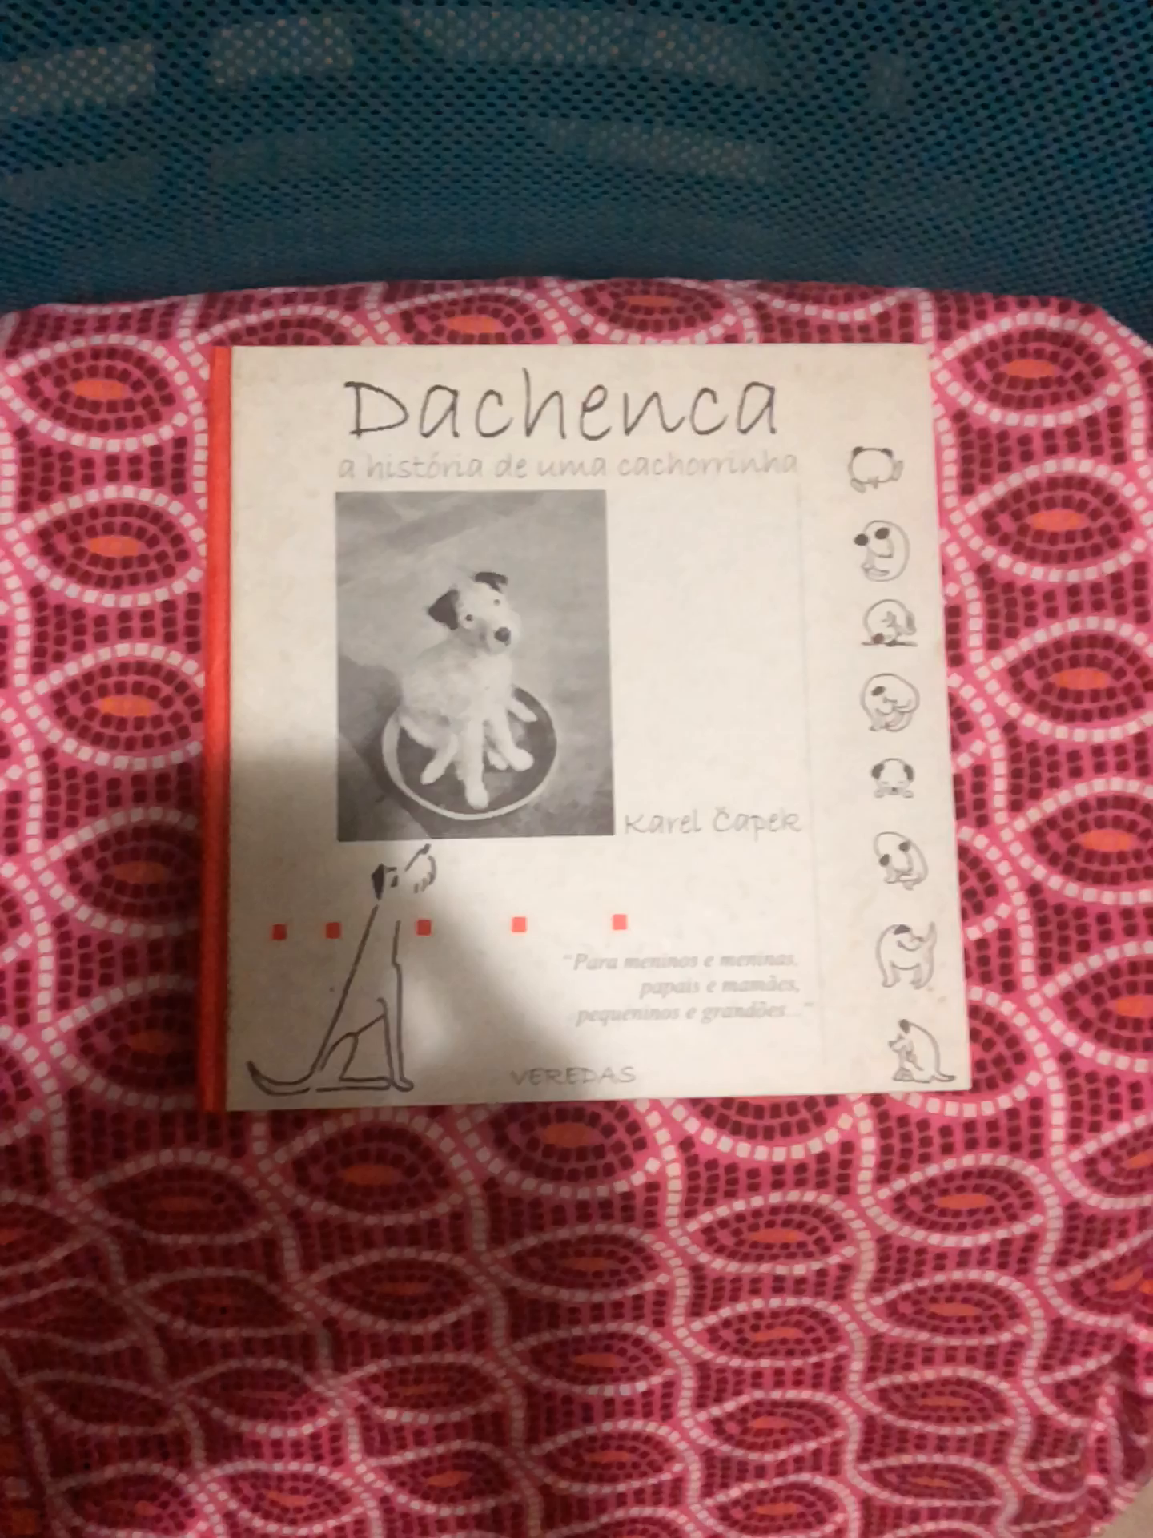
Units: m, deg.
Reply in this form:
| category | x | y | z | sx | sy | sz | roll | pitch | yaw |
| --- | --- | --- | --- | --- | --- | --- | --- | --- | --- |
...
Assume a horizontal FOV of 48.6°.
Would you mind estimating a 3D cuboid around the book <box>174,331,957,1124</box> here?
| category | x | y | z | sx | sy | sz | roll | pitch | yaw |
| --- | --- | --- | --- | --- | --- | --- | --- | --- | --- |
| book | -0.005 | -0.016 | 0.362 | 0.205 | 0.027 | 0.216 | -1 | 82 | -3 |
